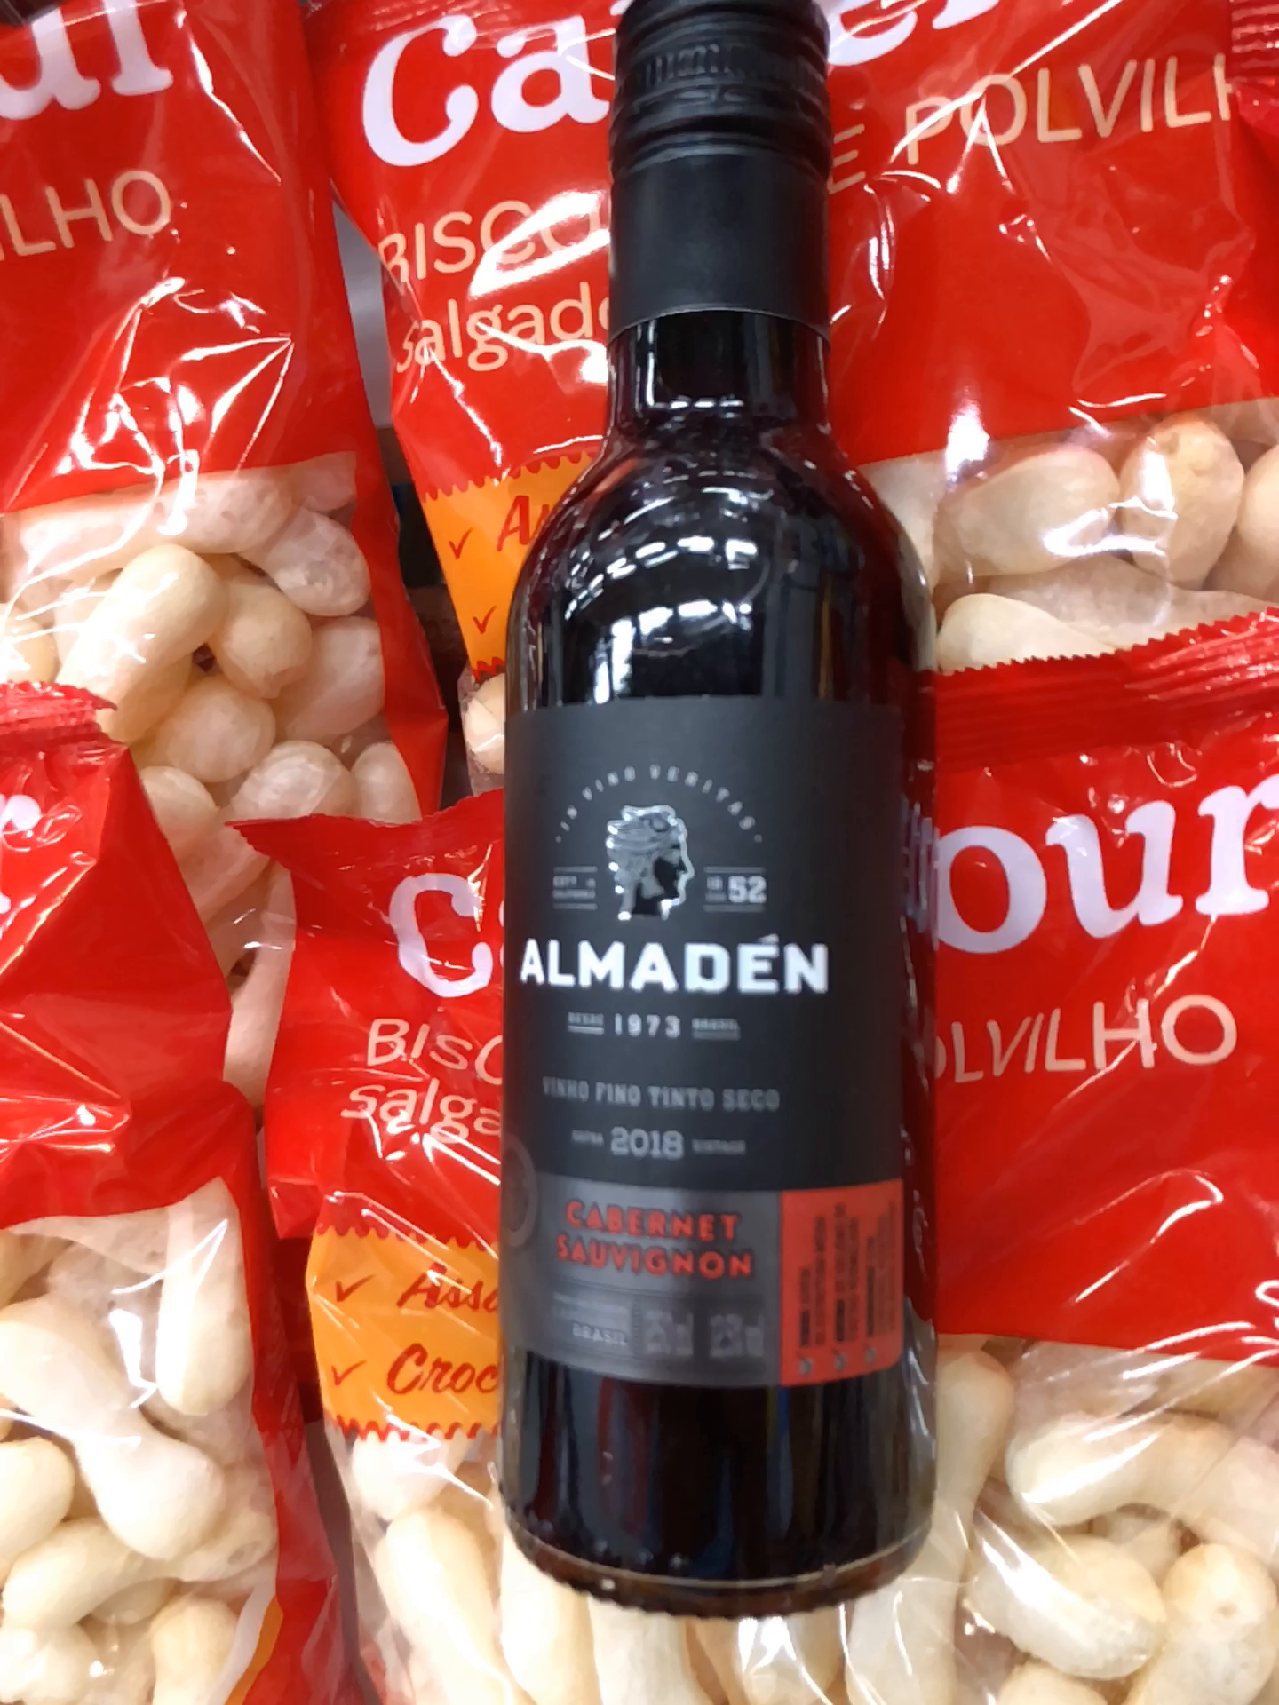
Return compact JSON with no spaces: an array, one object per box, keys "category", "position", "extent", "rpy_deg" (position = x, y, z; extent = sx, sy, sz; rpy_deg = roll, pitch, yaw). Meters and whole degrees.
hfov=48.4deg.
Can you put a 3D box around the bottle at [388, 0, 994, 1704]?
[{"category":"bottle","position":[0.014,-0.025,0.189],"extent":[0.060,0.060,0.240],"rpy_deg":[0,83,17]}]
